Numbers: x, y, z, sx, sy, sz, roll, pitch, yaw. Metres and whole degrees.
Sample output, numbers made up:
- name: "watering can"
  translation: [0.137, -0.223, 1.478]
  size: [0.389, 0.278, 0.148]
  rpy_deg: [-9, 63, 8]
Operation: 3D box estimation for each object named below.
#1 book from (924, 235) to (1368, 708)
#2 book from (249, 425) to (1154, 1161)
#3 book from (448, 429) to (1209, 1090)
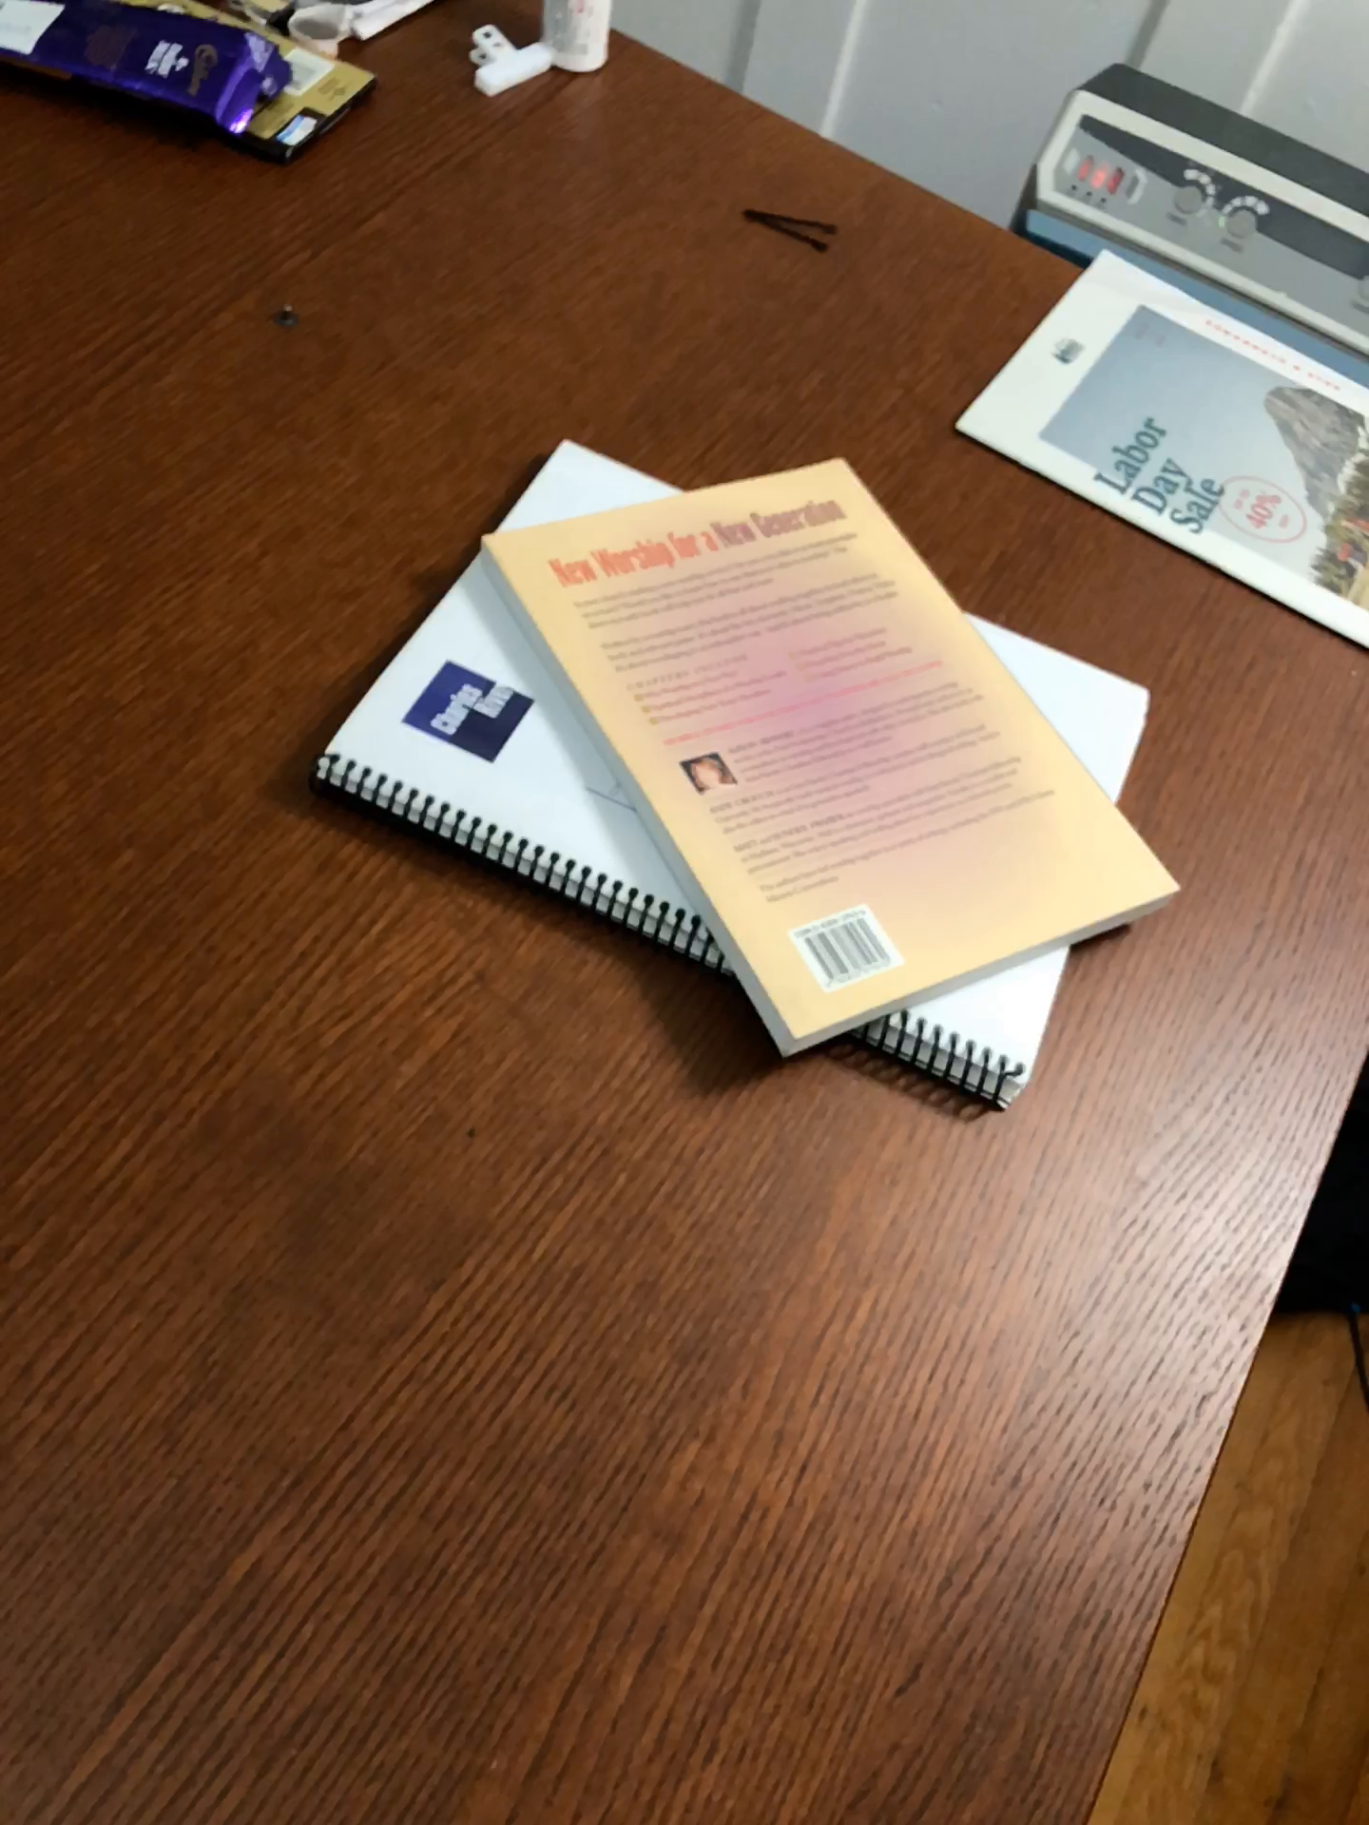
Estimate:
- name: "book"
  translation: [0.279, -0.230, 0.752]
  size: [0.270, 0.010, 0.201]
  rpy_deg: [31, 56, 9]
- name: "book"
  translation: [0.021, -0.063, 0.593]
  size: [0.290, 0.020, 0.231]
  rpy_deg: [24, 55, 4]
- name: "book"
  translation: [0.050, -0.078, 0.587]
  size: [0.190, 0.020, 0.261]
  rpy_deg: [-20, 63, -23]
